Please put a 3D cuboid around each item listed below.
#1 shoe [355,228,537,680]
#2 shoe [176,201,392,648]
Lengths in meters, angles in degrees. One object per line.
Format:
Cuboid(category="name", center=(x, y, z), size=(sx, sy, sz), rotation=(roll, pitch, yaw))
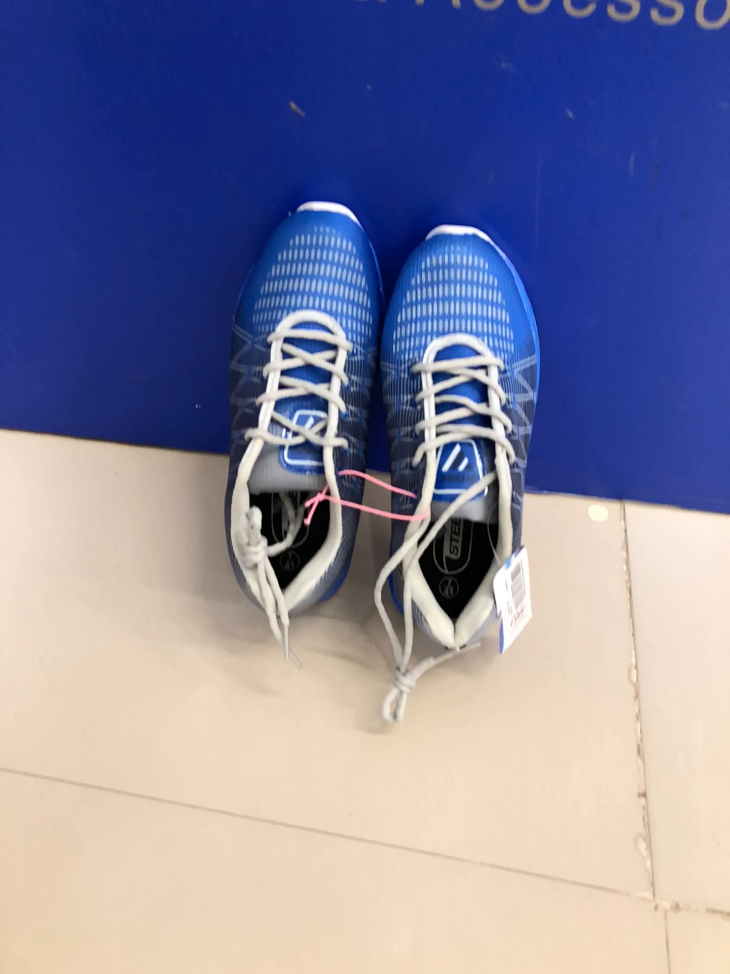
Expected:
Cuboid(category="shoe", center=(0.055, -0.020, 0.541), size=(0.100, 0.120, 0.270), rotation=(2, 85, 5))
Cuboid(category="shoe", center=(-0.050, -0.040, 0.552), size=(0.110, 0.270, 0.100), rotation=(6, 1, 1))
